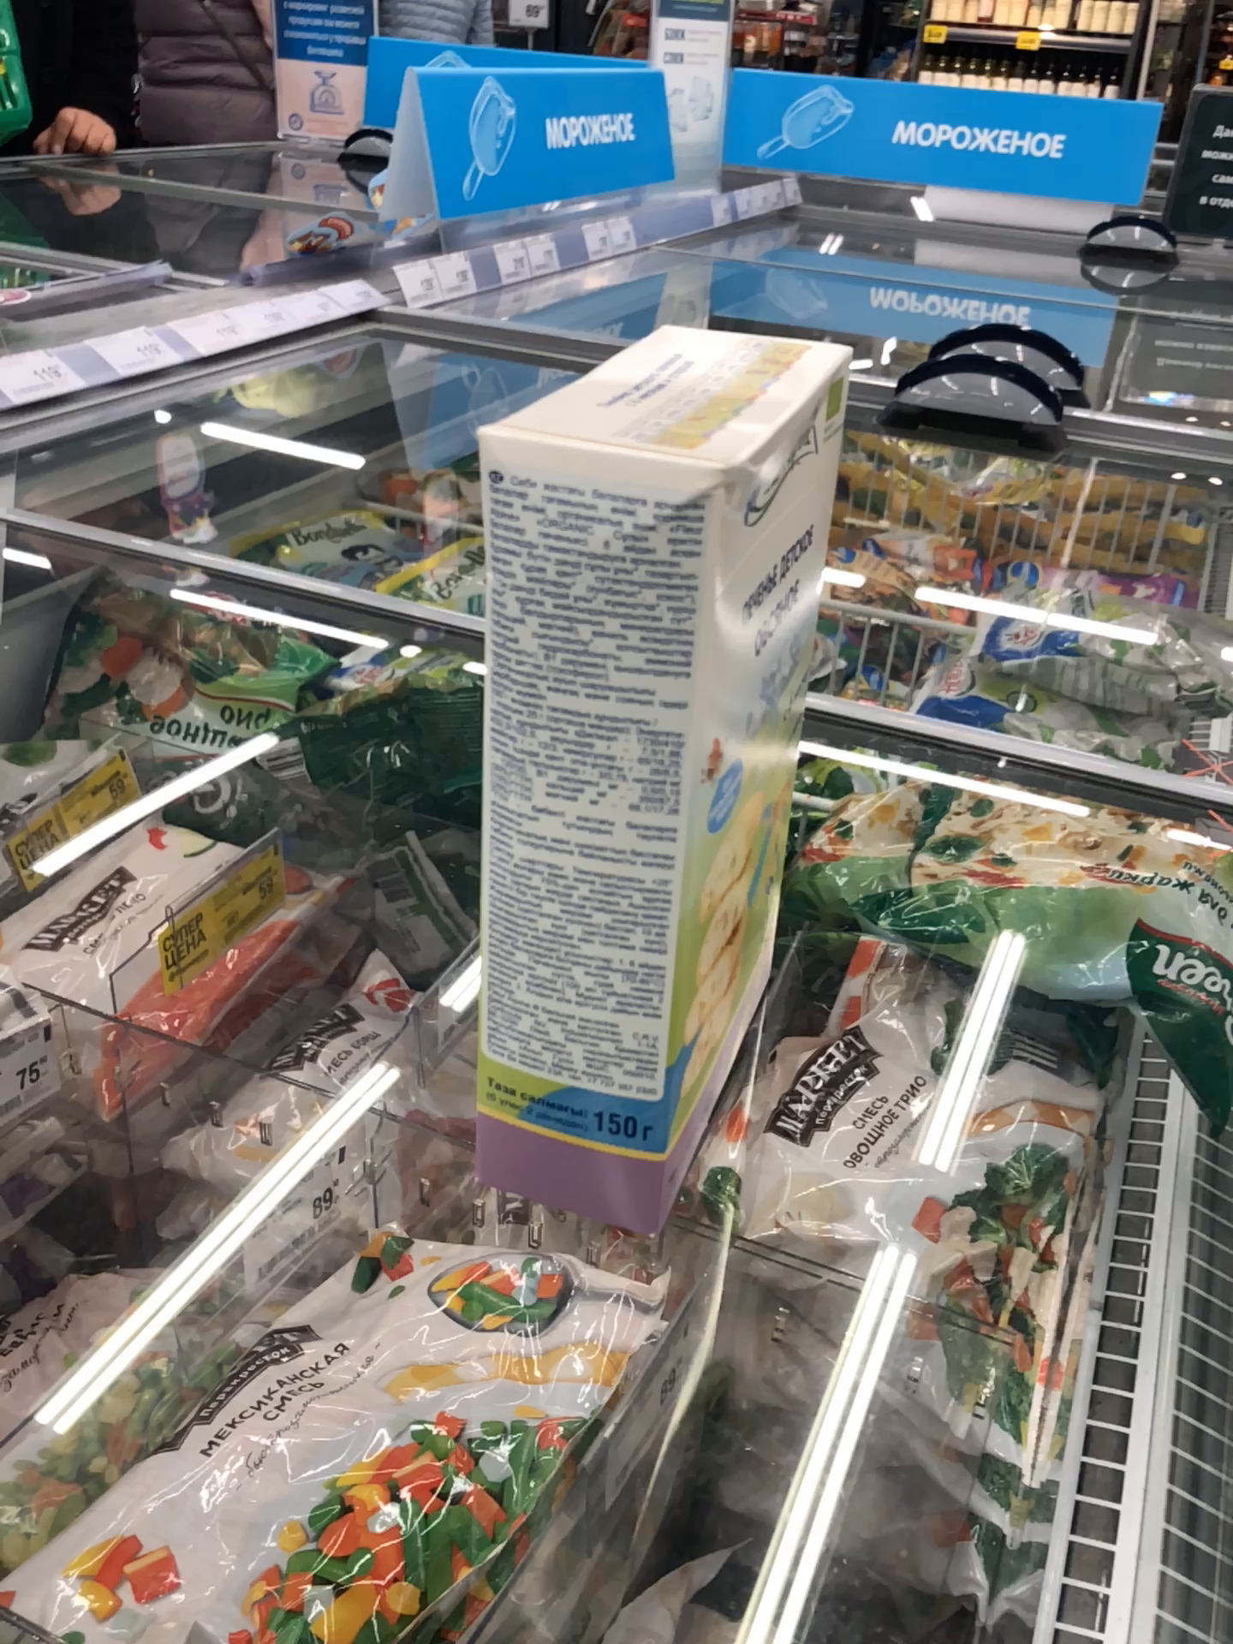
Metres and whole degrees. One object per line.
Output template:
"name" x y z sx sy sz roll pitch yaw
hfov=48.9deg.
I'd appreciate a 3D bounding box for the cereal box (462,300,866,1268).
"cereal box" 0.011 -0.013 0.321 0.050 0.189 0.121 12 30 14
